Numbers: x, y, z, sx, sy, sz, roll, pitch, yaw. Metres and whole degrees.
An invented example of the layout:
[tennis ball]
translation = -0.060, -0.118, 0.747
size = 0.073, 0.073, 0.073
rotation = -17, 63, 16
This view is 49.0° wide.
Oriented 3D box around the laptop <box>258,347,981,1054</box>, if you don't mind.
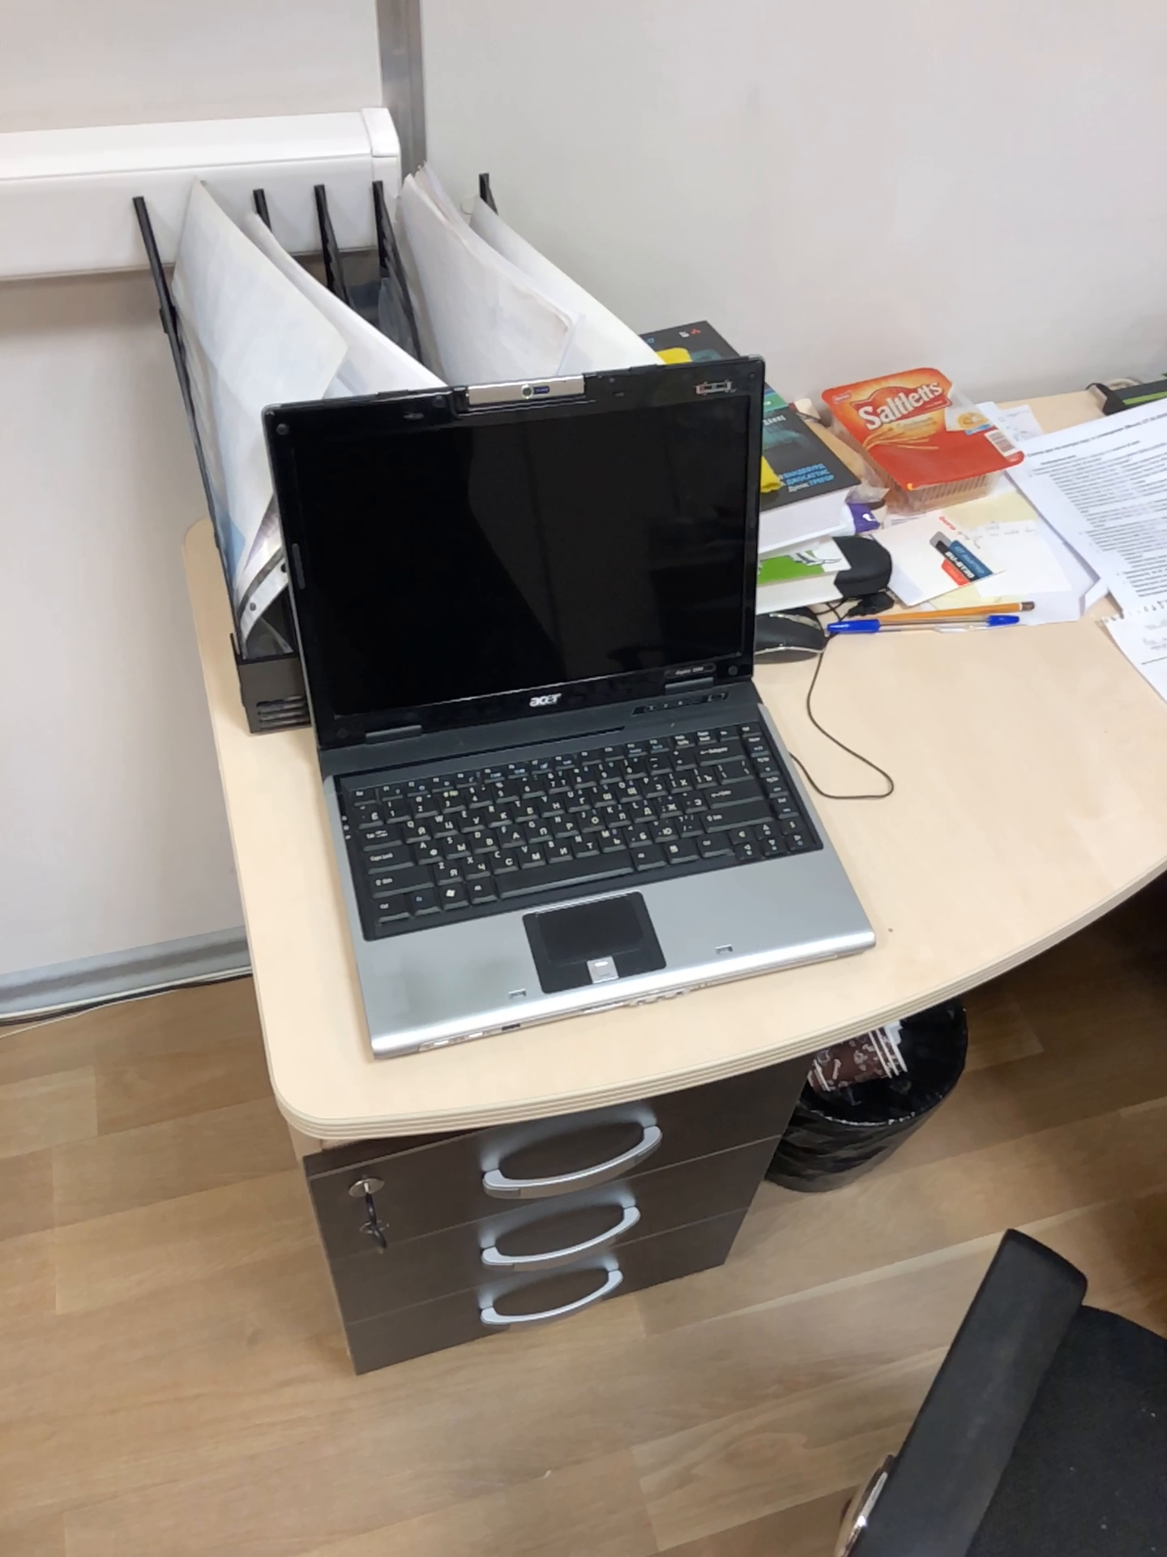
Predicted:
[laptop]
translation = -0.002, -0.061, 0.796
size = 0.326, 0.219, 0.324
rotation = -10, 53, -12
